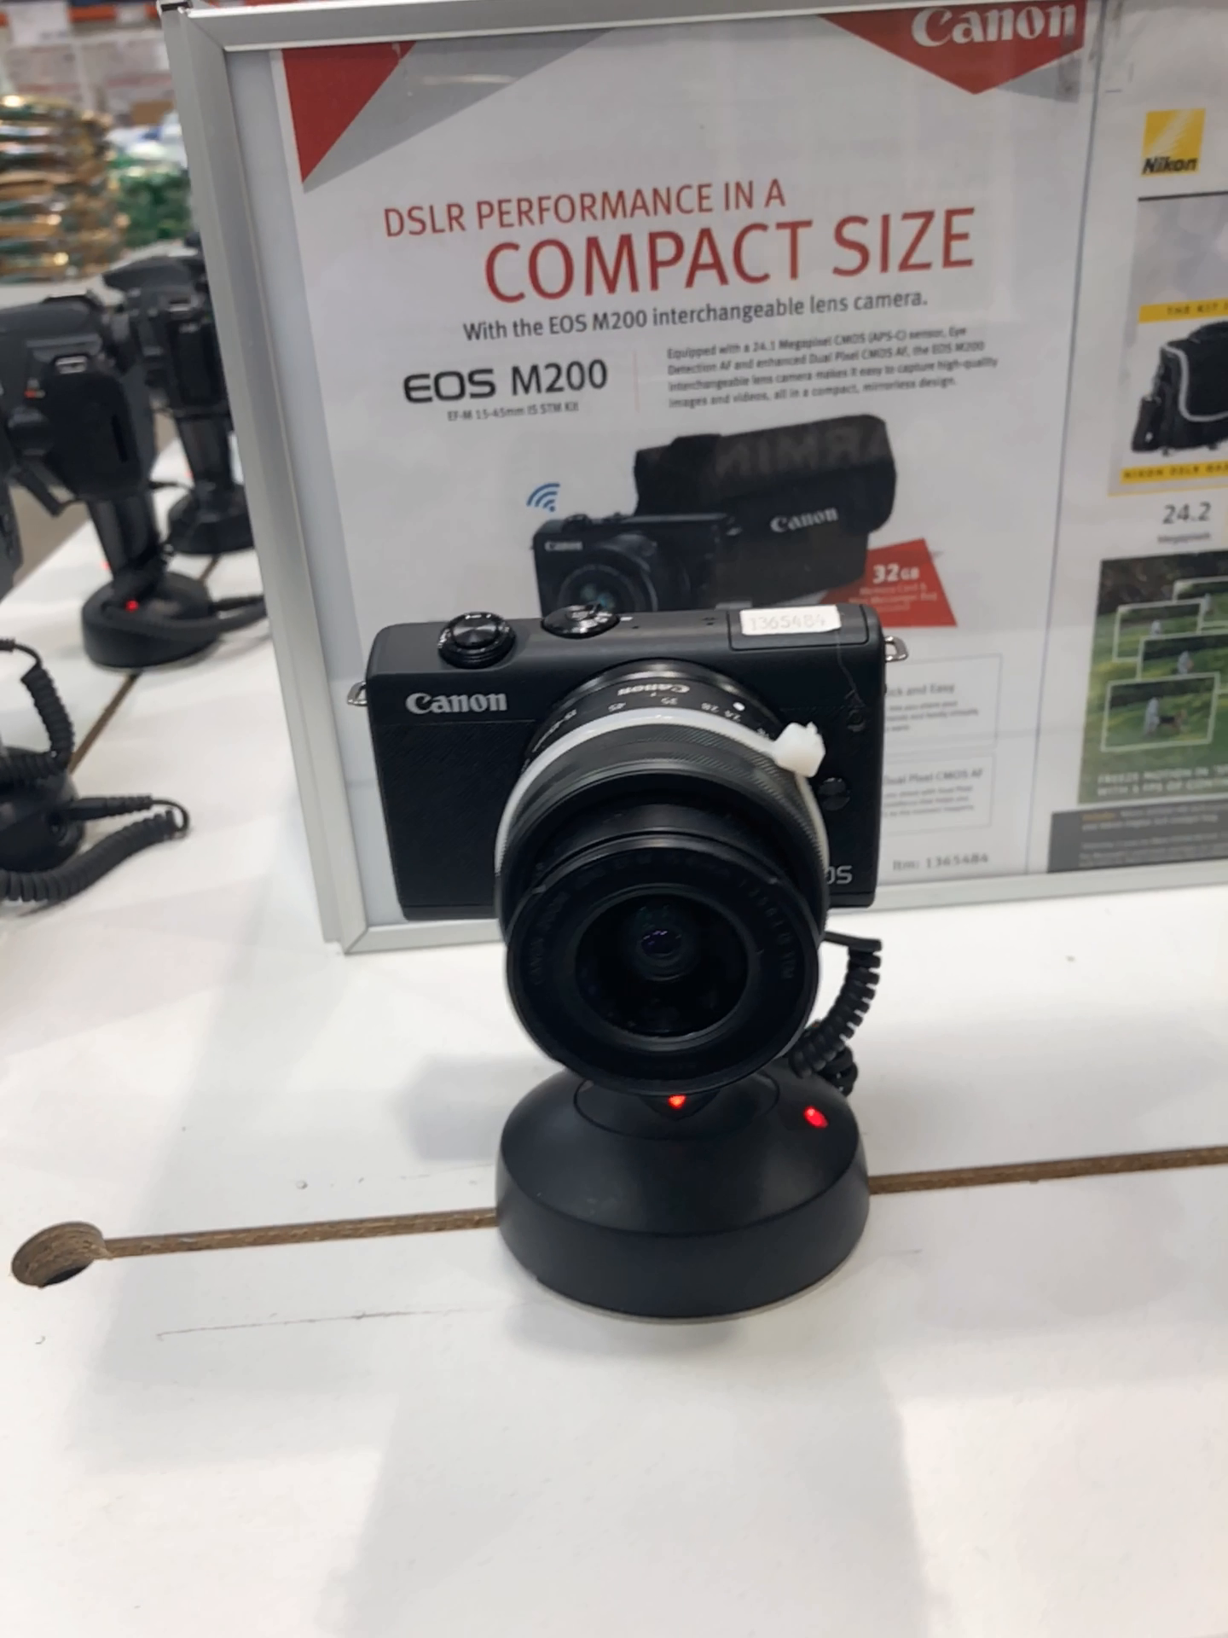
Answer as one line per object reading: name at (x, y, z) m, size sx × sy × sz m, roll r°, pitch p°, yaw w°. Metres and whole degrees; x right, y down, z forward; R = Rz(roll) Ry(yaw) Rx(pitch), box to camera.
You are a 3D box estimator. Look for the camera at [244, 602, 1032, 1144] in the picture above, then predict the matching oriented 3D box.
camera at (0.005, 0.003, 0.273) m, size 0.120 × 0.050 × 0.120 m, roll -3°, pitch 27°, yaw 2°
